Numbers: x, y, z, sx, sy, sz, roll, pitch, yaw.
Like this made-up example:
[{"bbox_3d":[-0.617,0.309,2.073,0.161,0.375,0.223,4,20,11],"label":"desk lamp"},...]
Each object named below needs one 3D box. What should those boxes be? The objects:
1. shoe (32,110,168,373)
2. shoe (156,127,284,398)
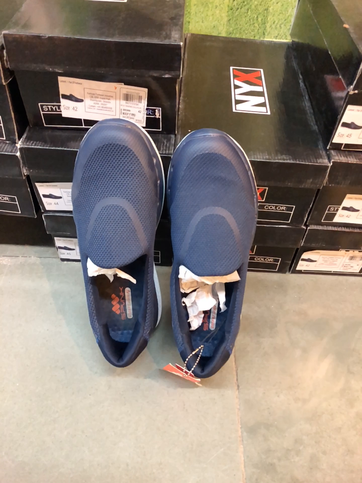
[{"bbox_3d":[-0.073,0.001,0.448,0.109,0.273,0.110,1,24,1],"label":"shoe"},{"bbox_3d":[0.031,0.025,0.430,0.107,0.273,0.099,1,22,0],"label":"shoe"}]
